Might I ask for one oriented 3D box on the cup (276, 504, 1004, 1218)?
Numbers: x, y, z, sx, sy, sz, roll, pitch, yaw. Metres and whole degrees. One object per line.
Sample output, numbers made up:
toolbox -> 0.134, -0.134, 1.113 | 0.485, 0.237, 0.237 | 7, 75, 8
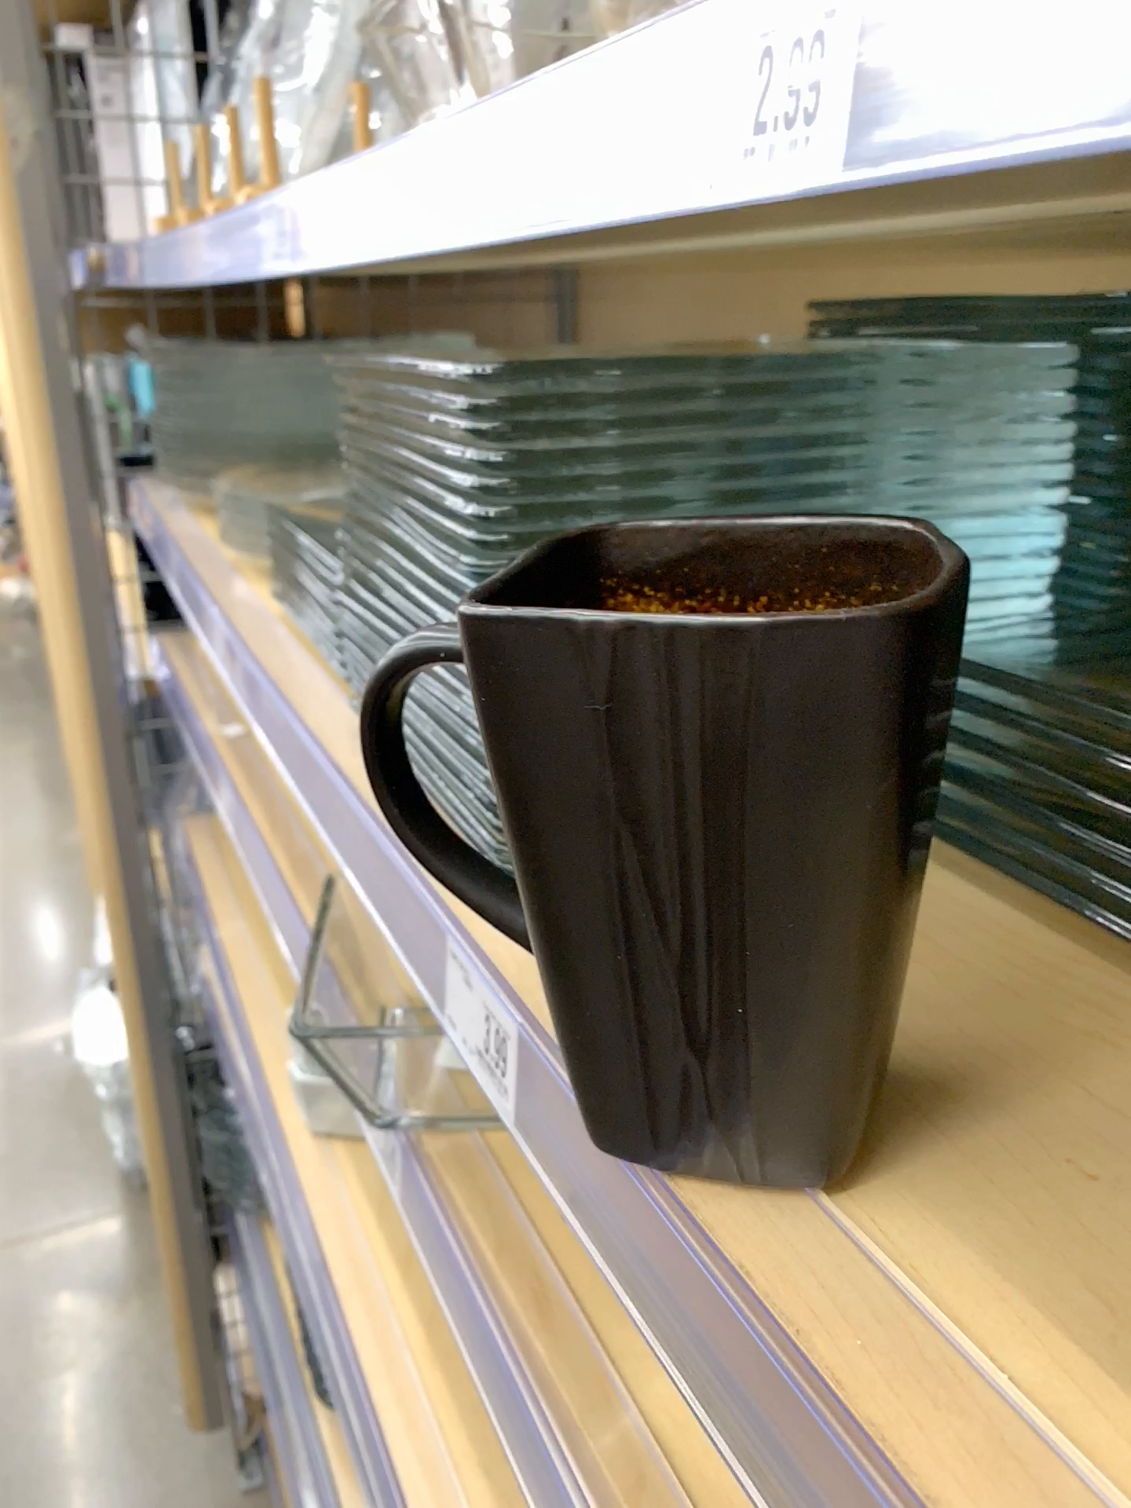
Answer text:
cup -> 0.018, 0.010, 0.229 | 0.107, 0.099, 0.088 | 4, 21, 13
